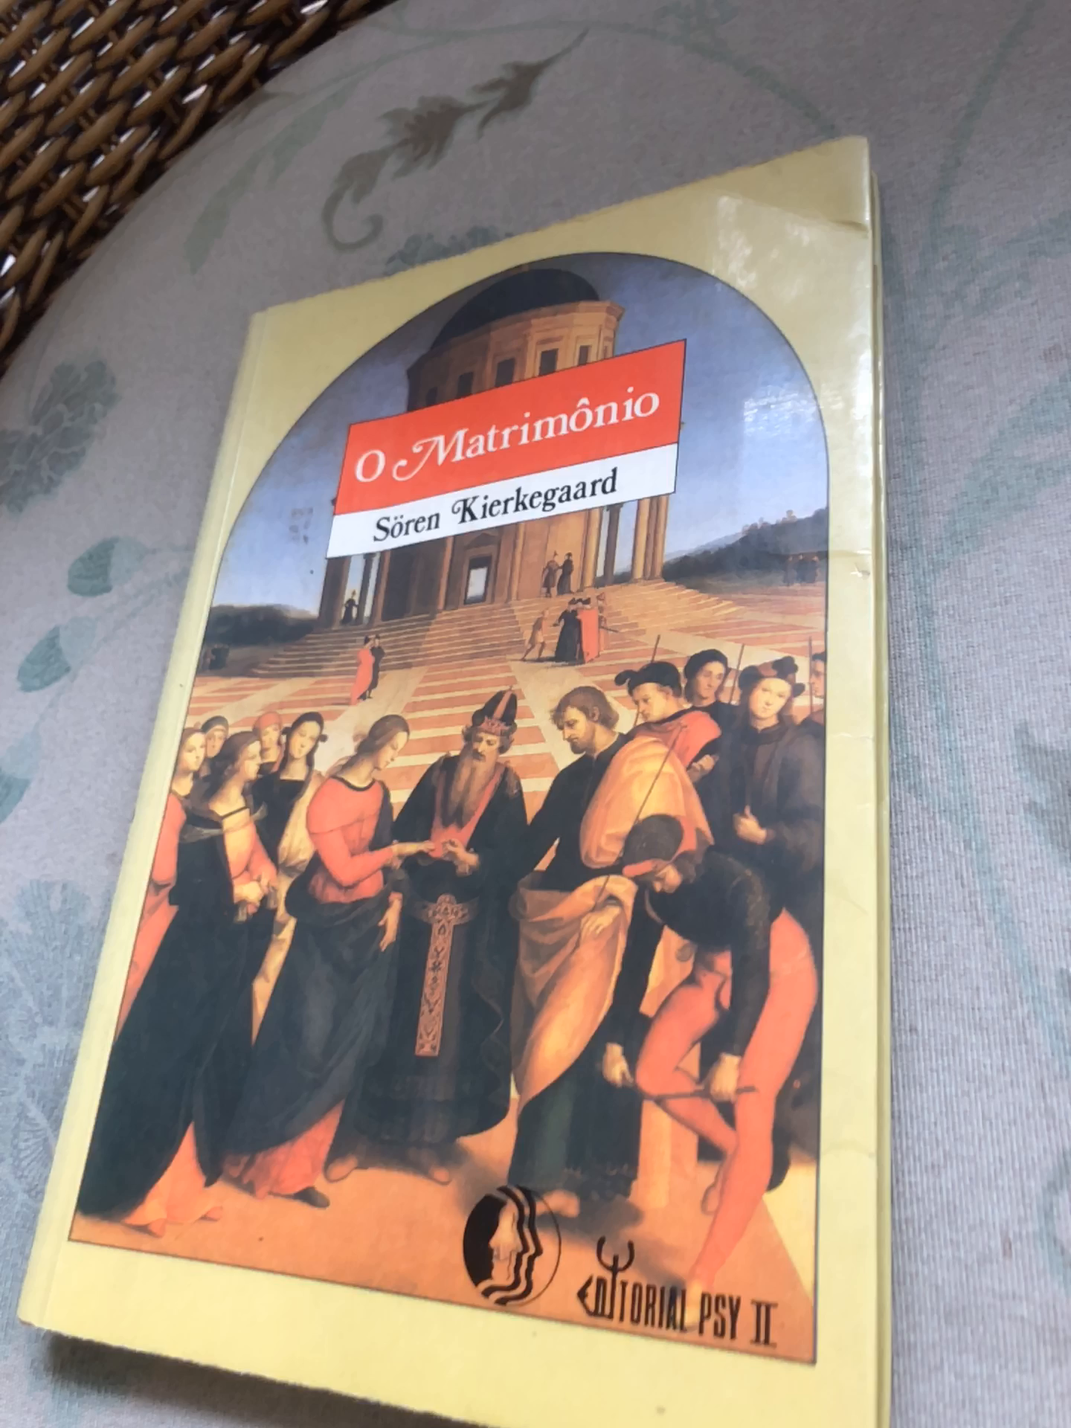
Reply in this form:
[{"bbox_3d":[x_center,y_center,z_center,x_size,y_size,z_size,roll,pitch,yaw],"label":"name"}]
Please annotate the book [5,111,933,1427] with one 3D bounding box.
[{"bbox_3d":[-0.009,0.003,0.203,0.140,0.020,0.200,-5,67,27],"label":"book"}]
